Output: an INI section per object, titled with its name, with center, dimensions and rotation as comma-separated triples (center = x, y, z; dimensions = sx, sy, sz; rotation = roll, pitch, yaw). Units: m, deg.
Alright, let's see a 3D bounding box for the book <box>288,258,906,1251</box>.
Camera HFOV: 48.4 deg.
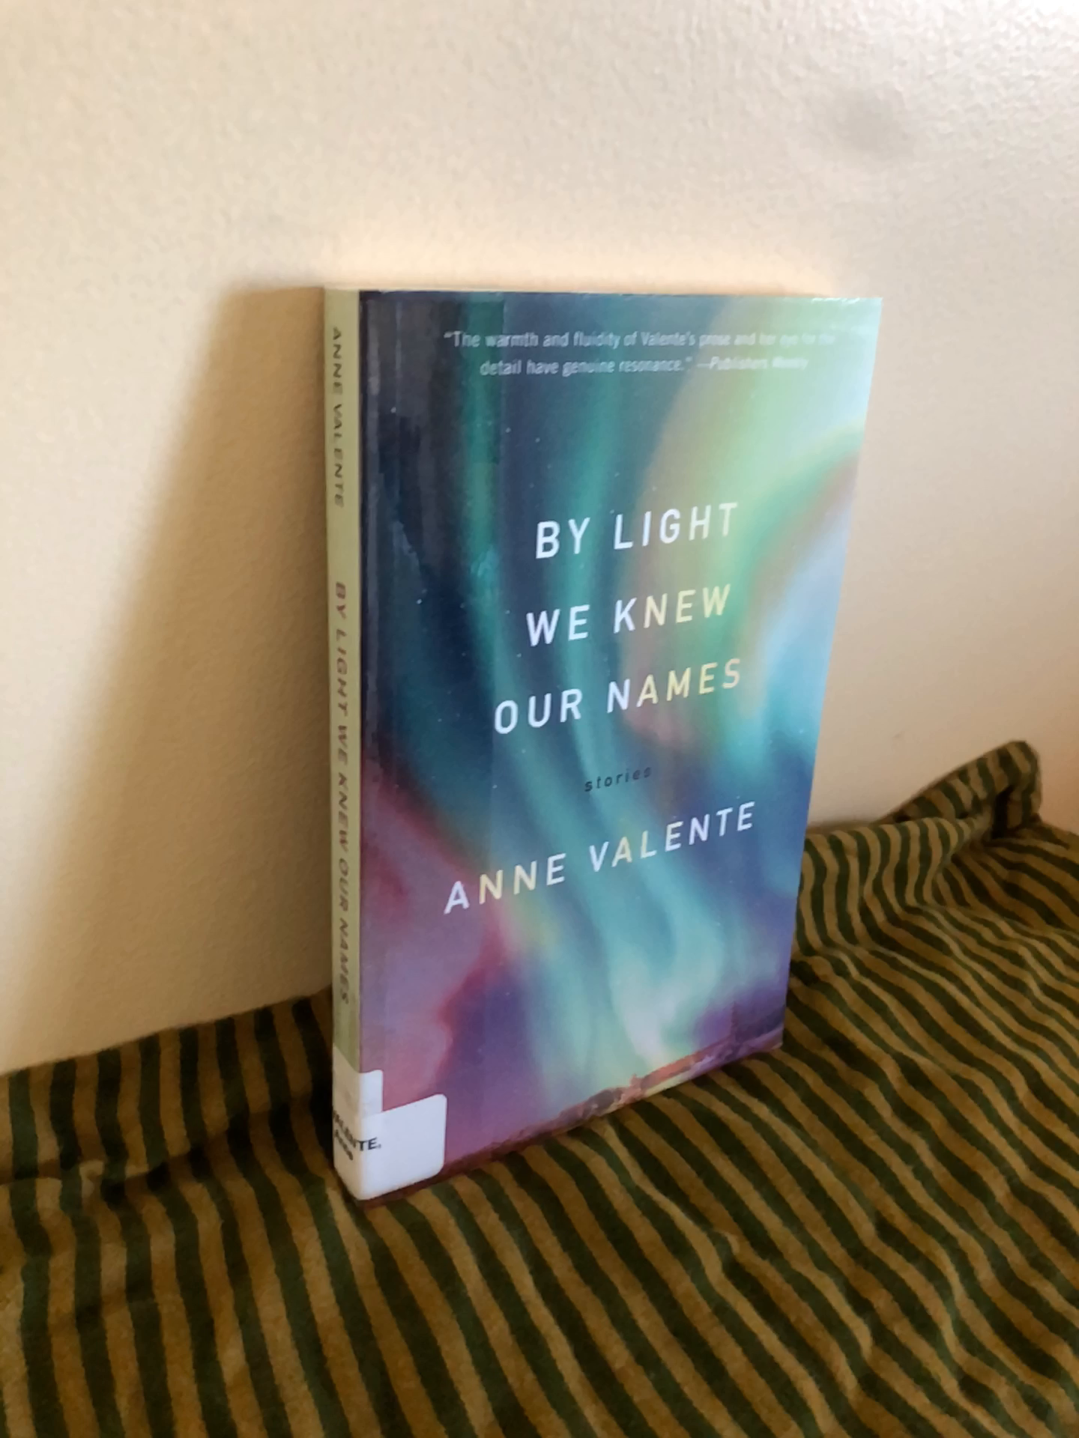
[book]
center = 0.011, 0.011, 0.292
dimensions = 0.142, 0.223, 0.020
rotation = -11, 29, -35
